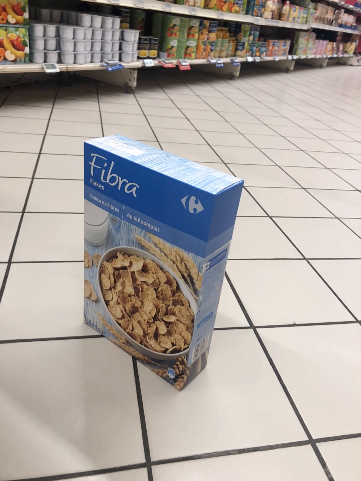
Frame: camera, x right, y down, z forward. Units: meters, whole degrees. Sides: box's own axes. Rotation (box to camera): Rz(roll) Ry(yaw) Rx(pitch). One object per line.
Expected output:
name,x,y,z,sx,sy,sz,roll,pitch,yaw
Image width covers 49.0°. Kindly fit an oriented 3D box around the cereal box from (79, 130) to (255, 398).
cereal box,-0.038,0.030,0.518,0.200,0.288,0.070,26,34,29
